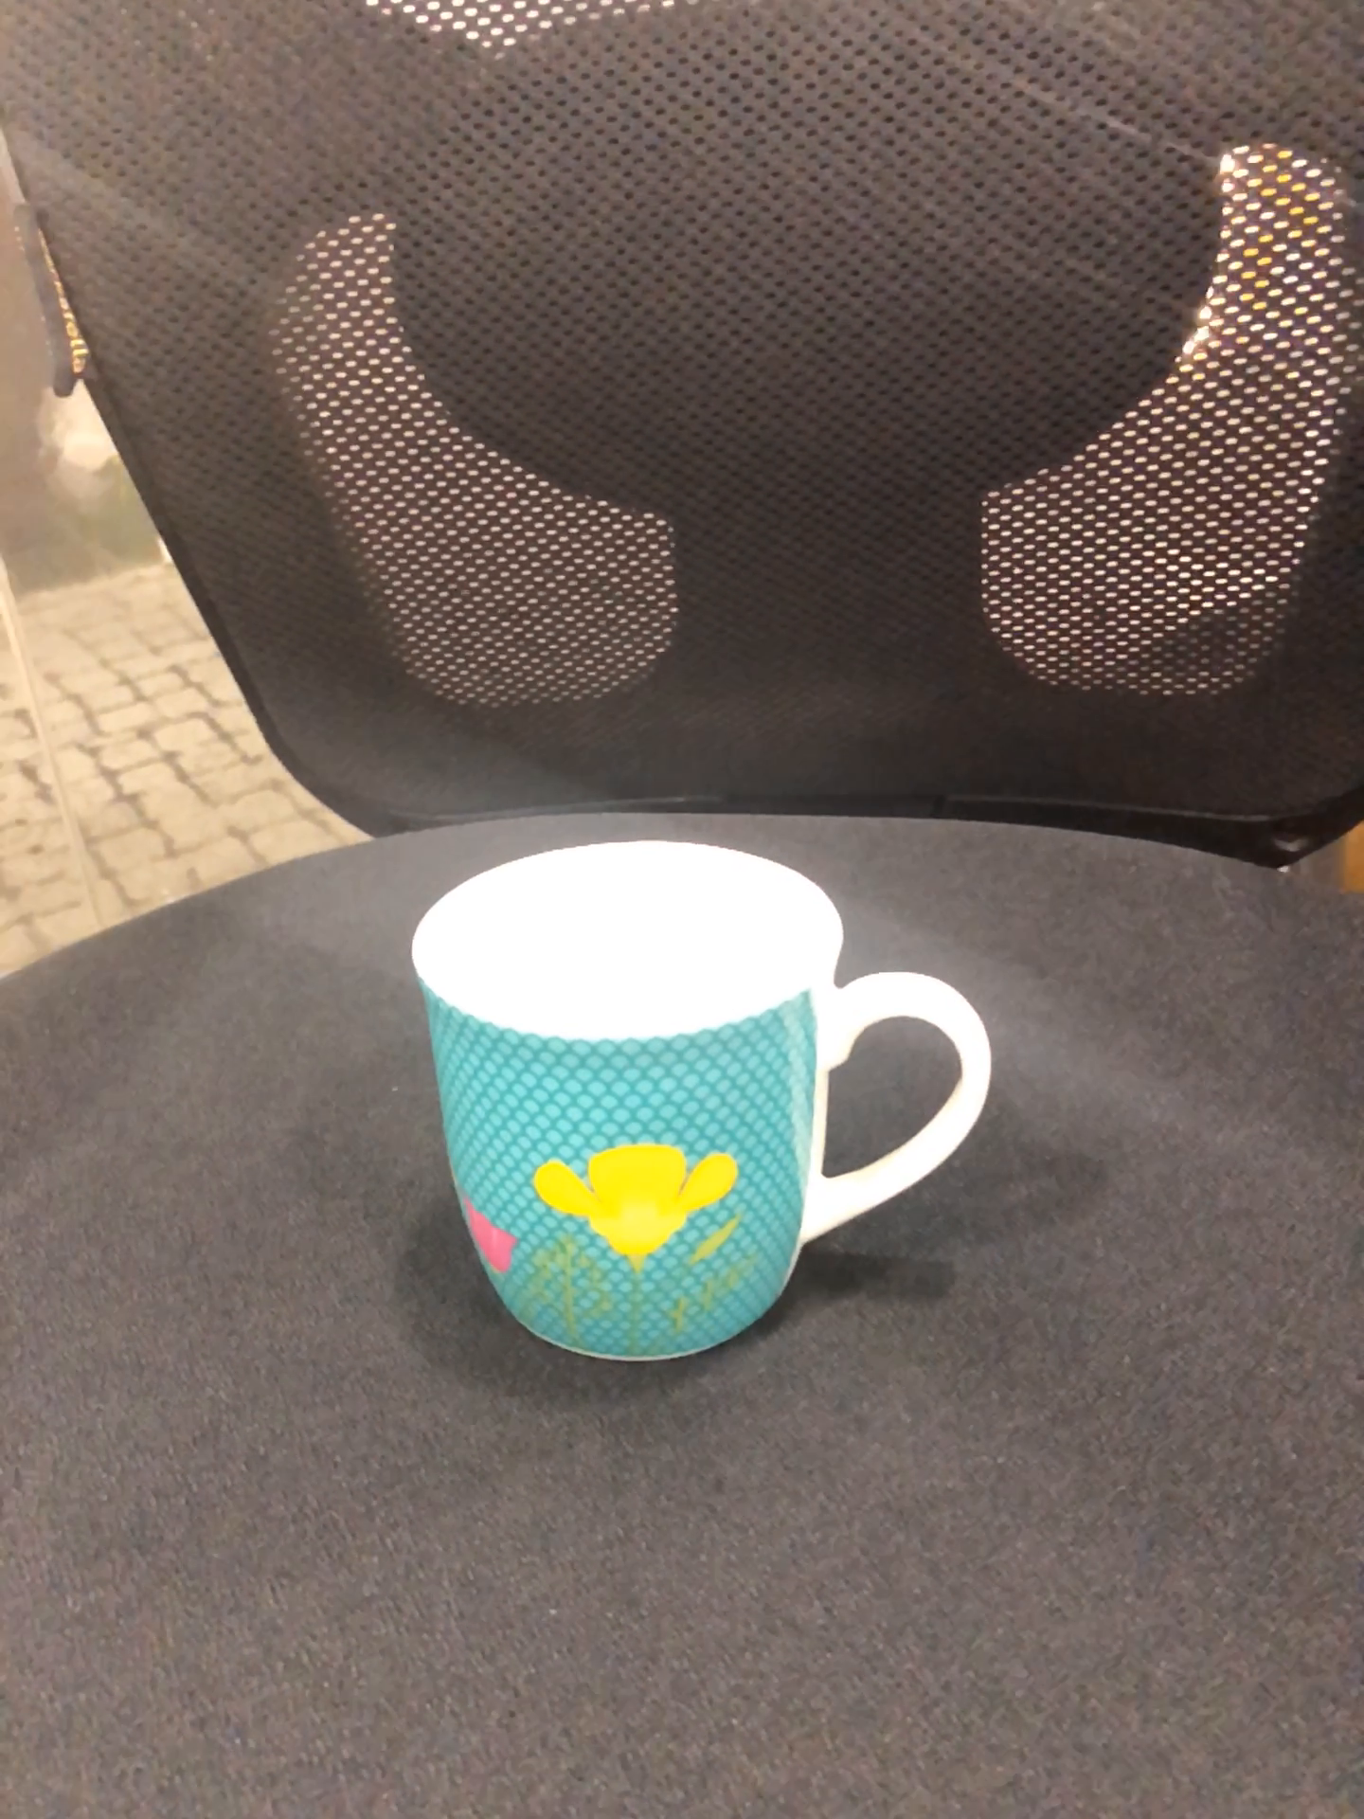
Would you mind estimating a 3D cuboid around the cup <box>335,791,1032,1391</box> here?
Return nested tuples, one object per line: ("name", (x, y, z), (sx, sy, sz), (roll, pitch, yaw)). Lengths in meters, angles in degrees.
("cup", (0.000, 0.032, 0.289), (0.110, 0.080, 0.070), (-4, 31, -1))
